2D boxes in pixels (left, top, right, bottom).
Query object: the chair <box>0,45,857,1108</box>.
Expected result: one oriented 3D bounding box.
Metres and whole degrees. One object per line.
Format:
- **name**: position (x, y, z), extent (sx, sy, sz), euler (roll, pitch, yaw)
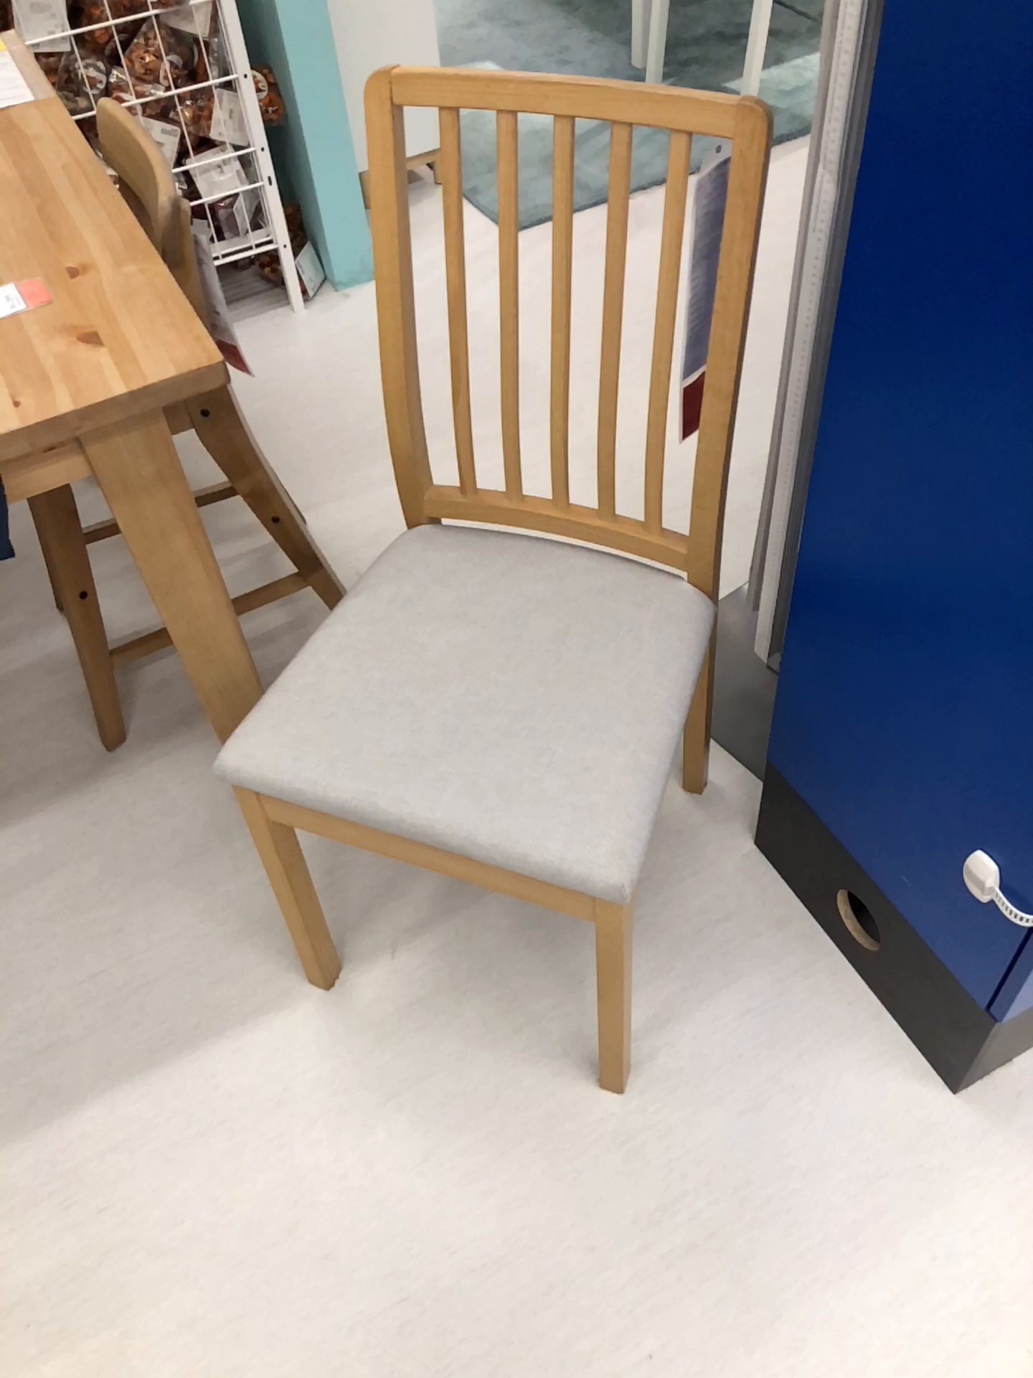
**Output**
- **chair**: position (-0.007, -0.062, 1.126), extent (0.451, 0.855, 0.512), euler (15, 52, 17)
